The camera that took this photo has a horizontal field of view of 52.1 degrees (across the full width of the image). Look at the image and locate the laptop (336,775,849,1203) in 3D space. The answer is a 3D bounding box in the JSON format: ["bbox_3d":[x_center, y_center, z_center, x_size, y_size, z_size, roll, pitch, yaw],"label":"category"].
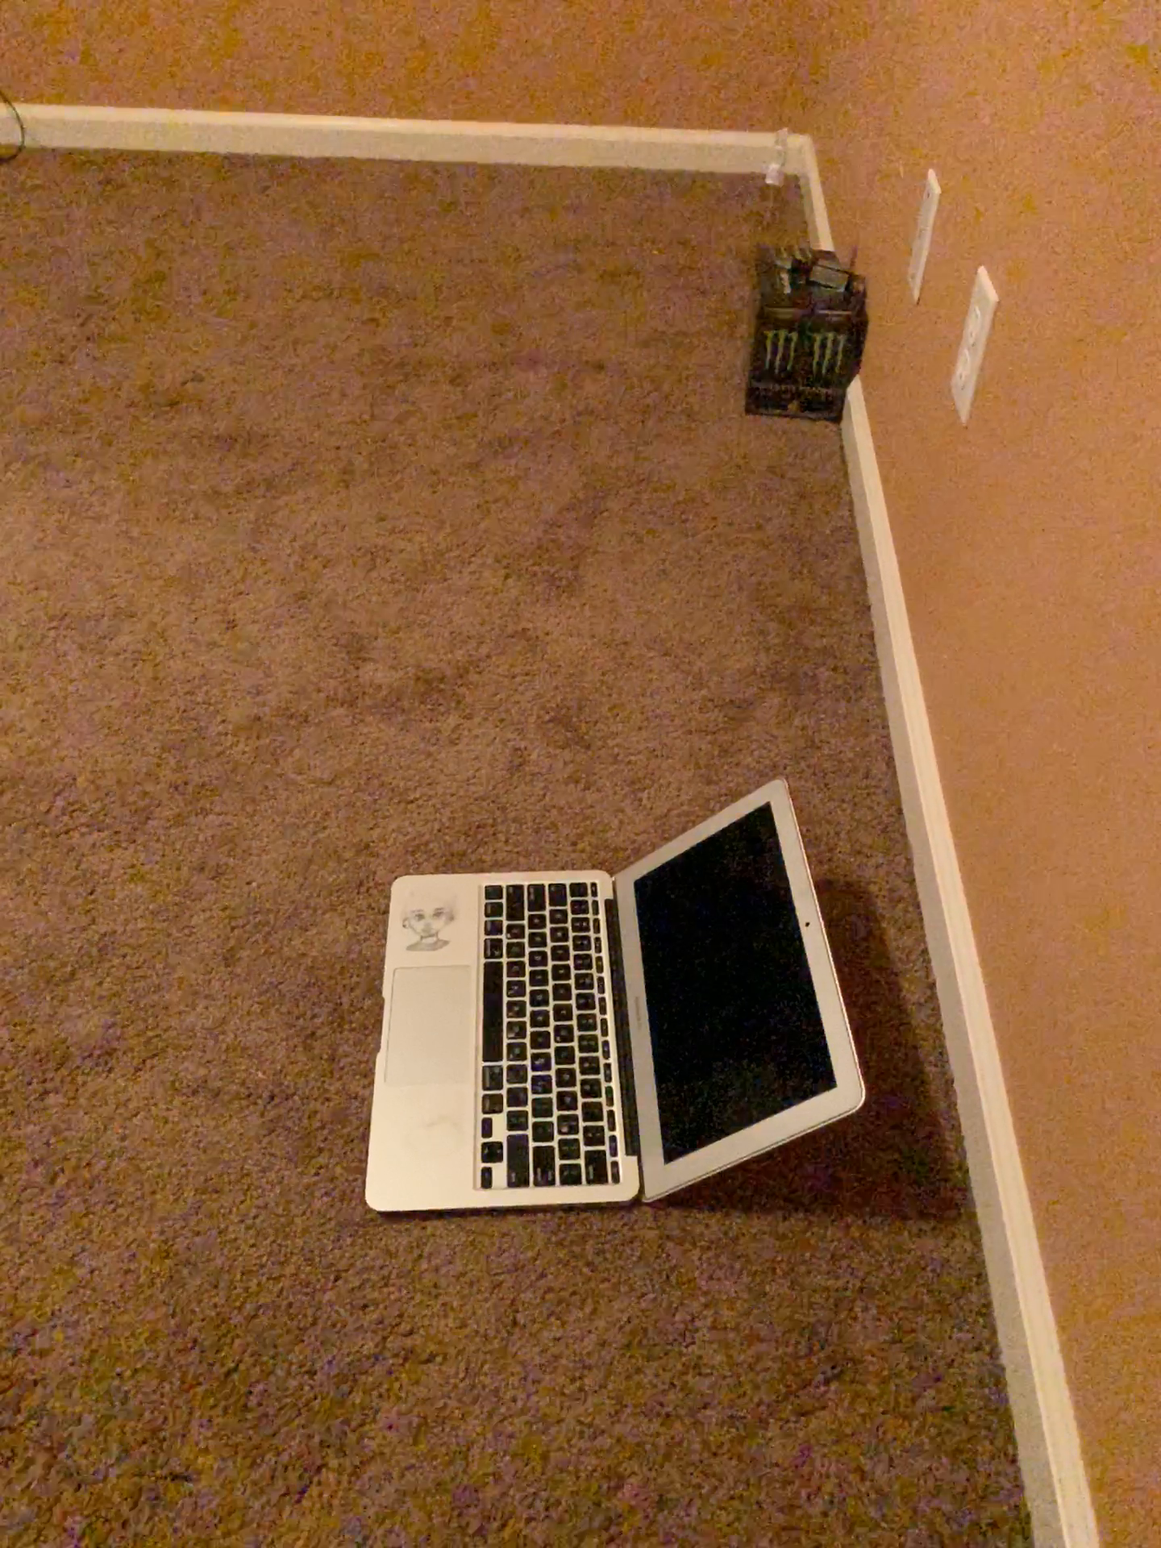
[{"bbox_3d":[0.003,0.149,0.896,0.324,0.116,0.300,-1,44,-1],"label":"laptop"}]
